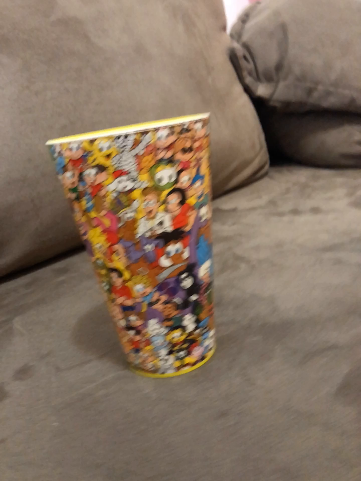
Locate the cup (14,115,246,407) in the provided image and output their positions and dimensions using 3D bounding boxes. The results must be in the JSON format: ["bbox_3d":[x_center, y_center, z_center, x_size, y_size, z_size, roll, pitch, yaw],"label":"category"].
[{"bbox_3d":[-0.026,0.004,0.250,0.090,0.139,0.090,-10,17,3],"label":"cup"}]
